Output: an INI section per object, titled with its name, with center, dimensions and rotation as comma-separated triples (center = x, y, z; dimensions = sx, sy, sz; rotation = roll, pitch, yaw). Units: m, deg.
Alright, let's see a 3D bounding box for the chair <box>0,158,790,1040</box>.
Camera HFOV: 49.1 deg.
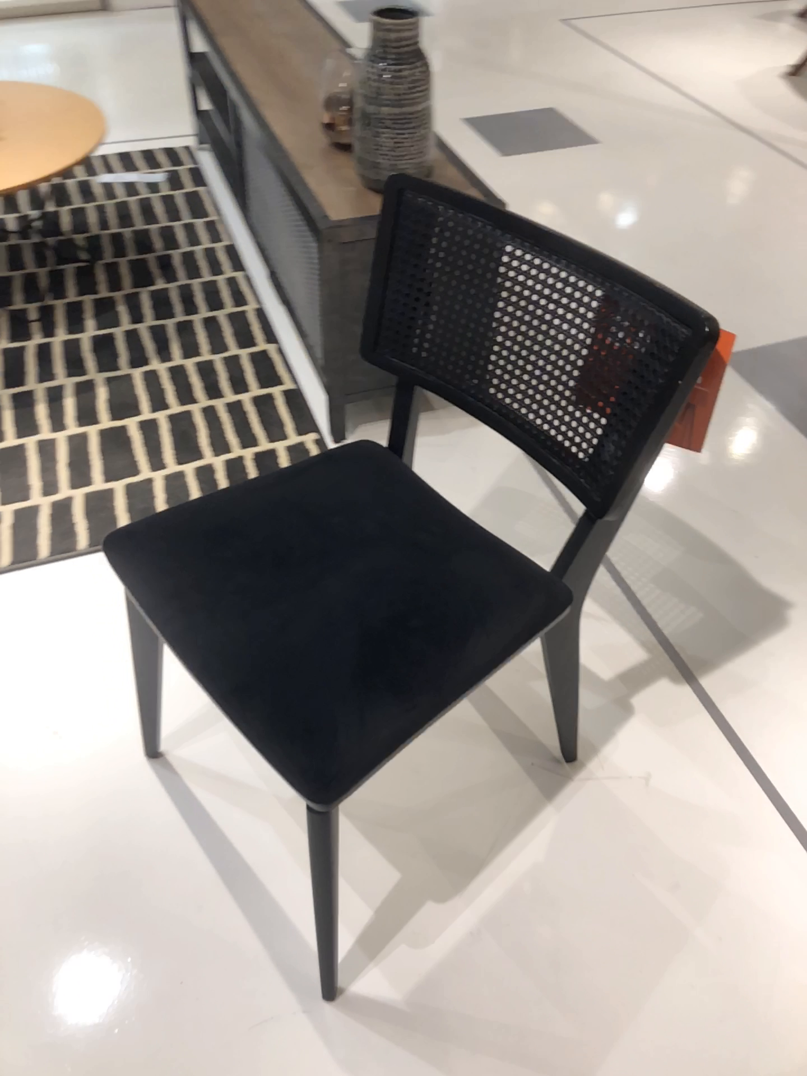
[chair]
center = -0.032, 0.065, 1.073
dimensions = 0.552, 0.744, 0.532
rotation = -31, 52, -29
